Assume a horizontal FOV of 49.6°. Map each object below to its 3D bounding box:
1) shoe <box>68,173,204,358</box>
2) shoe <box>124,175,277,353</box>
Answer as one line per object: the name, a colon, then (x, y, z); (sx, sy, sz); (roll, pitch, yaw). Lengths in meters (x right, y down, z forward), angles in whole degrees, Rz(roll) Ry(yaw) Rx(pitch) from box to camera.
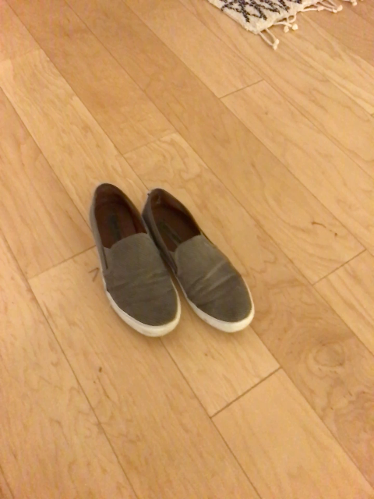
shoe: (-0.087, 0.013, 0.642); (0.120, 0.050, 0.281); (-19, 62, -14)
shoe: (0.011, 0.012, 0.653); (0.110, 0.050, 0.281); (-26, 64, -17)
